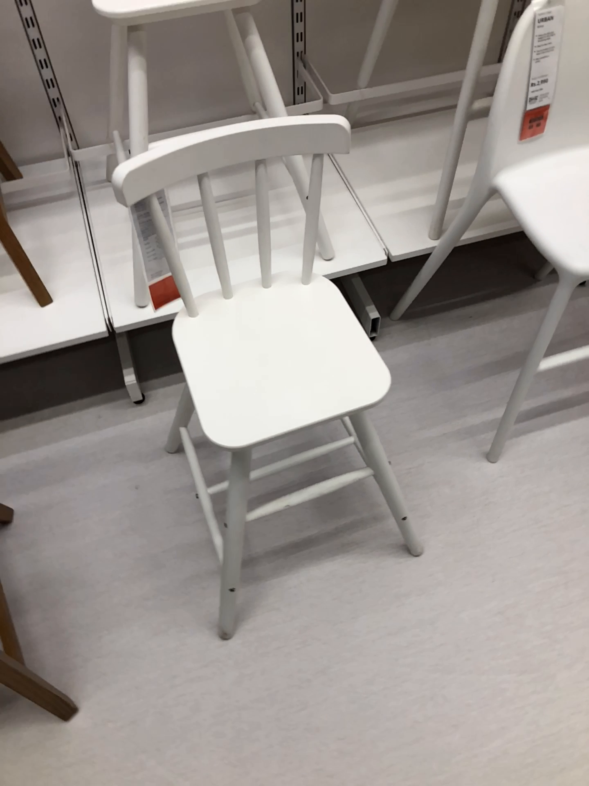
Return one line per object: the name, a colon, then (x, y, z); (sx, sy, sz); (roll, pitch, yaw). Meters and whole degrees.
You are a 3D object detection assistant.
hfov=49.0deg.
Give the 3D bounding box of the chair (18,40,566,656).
chair: (-0.032, -0.008, 1.057); (0.470, 0.796, 0.503); (-19, 56, -12)
